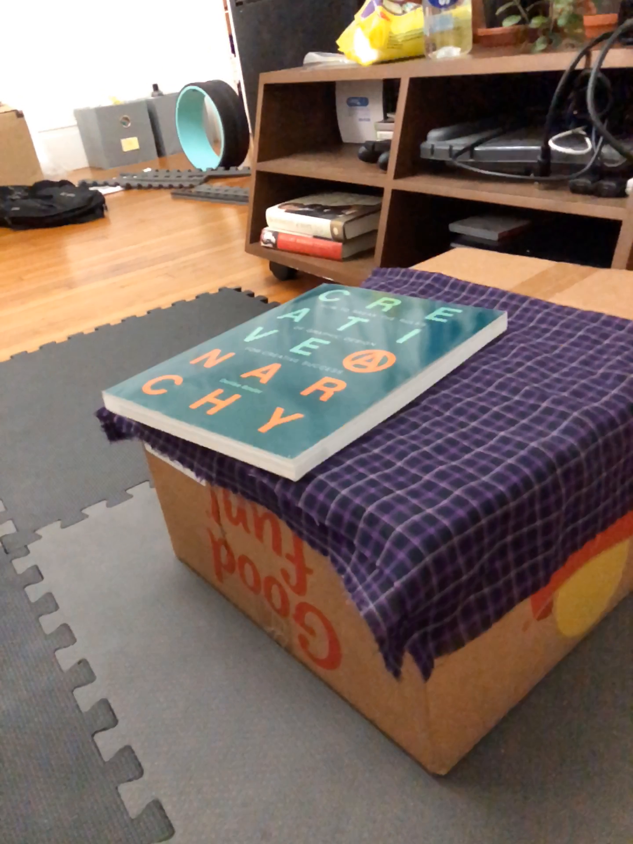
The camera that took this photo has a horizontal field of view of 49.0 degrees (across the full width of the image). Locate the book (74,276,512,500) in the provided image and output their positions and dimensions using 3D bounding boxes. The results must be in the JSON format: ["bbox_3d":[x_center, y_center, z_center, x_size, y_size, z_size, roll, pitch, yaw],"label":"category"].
[{"bbox_3d":[-0.010,-0.054,0.576,0.220,0.020,0.301,17,37,38],"label":"book"}]
